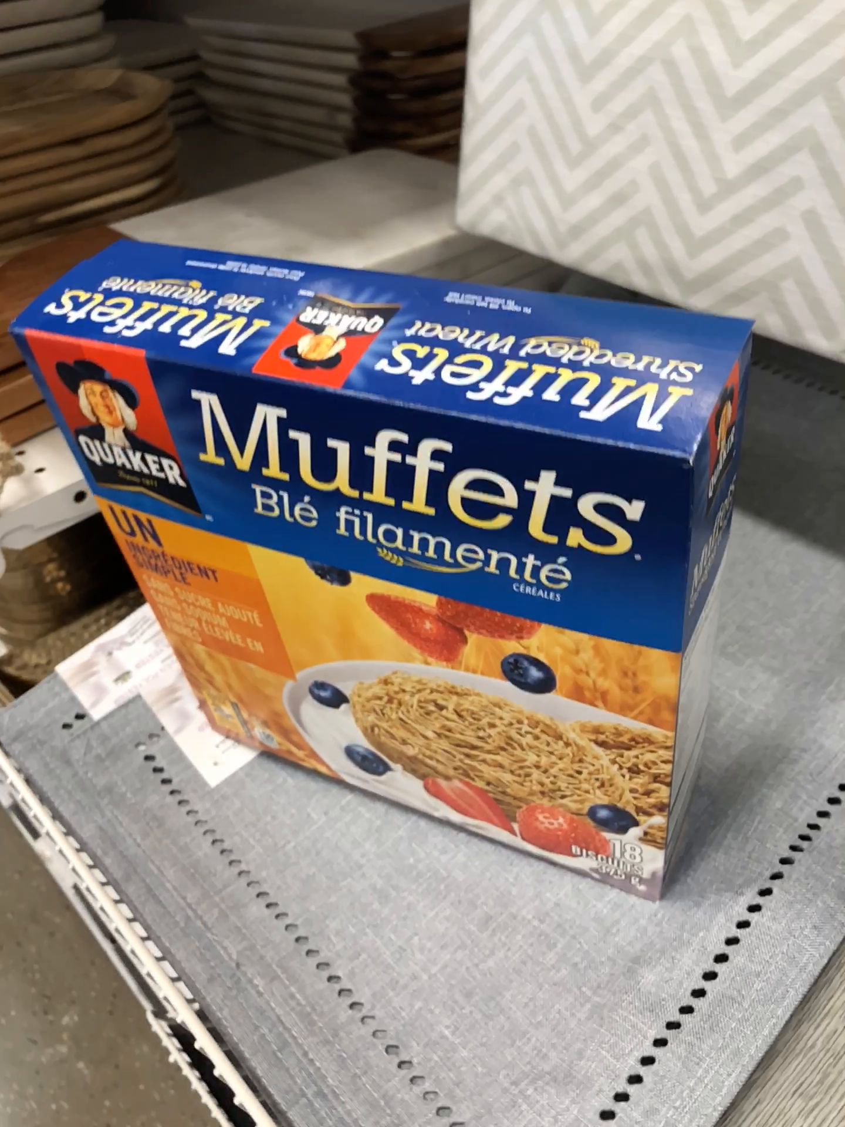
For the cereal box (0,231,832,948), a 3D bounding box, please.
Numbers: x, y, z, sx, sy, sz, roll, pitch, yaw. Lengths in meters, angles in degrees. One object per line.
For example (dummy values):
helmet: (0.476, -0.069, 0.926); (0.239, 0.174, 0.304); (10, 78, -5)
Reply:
cereal box: (-0.006, 0.013, 0.348); (0.250, 0.229, 0.060); (16, 50, 25)
